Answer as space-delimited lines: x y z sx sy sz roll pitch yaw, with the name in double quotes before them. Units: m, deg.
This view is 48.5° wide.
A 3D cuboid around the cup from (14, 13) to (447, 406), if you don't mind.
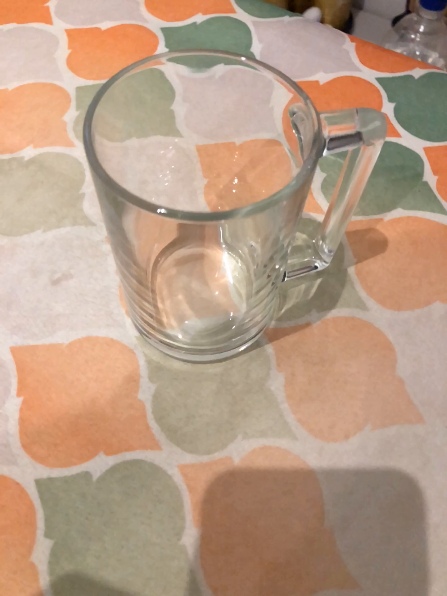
"cup" -0.001 -0.027 0.189 0.110 0.100 0.080 -15 63 -8
